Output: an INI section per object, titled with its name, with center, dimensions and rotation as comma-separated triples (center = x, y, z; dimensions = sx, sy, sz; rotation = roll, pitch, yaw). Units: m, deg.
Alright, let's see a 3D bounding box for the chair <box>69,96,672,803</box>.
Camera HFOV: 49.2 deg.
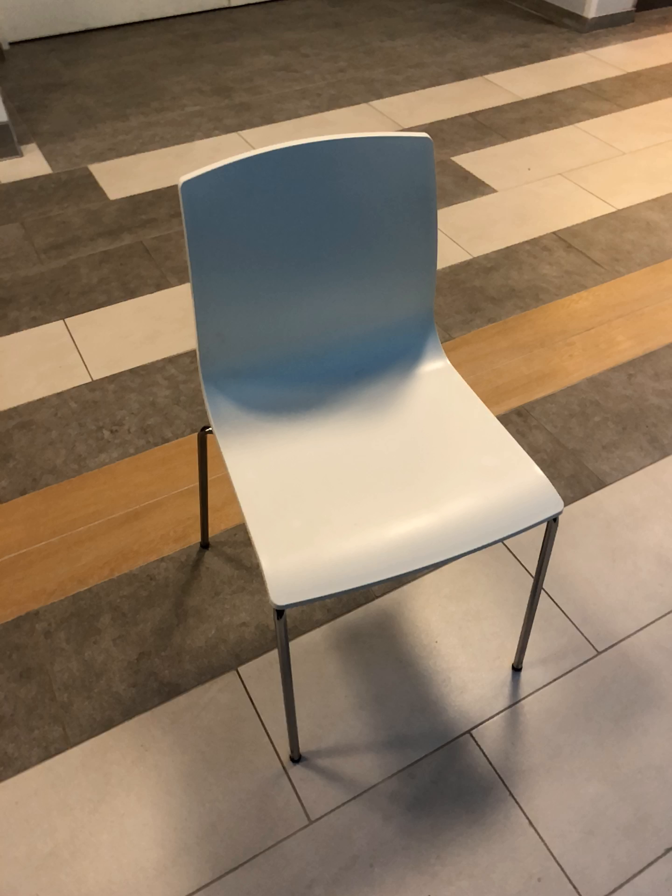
[chair]
center = 0.041, 0.012, 1.115
dimensions = 0.581, 0.776, 0.553
rotation = -18, 49, -17
